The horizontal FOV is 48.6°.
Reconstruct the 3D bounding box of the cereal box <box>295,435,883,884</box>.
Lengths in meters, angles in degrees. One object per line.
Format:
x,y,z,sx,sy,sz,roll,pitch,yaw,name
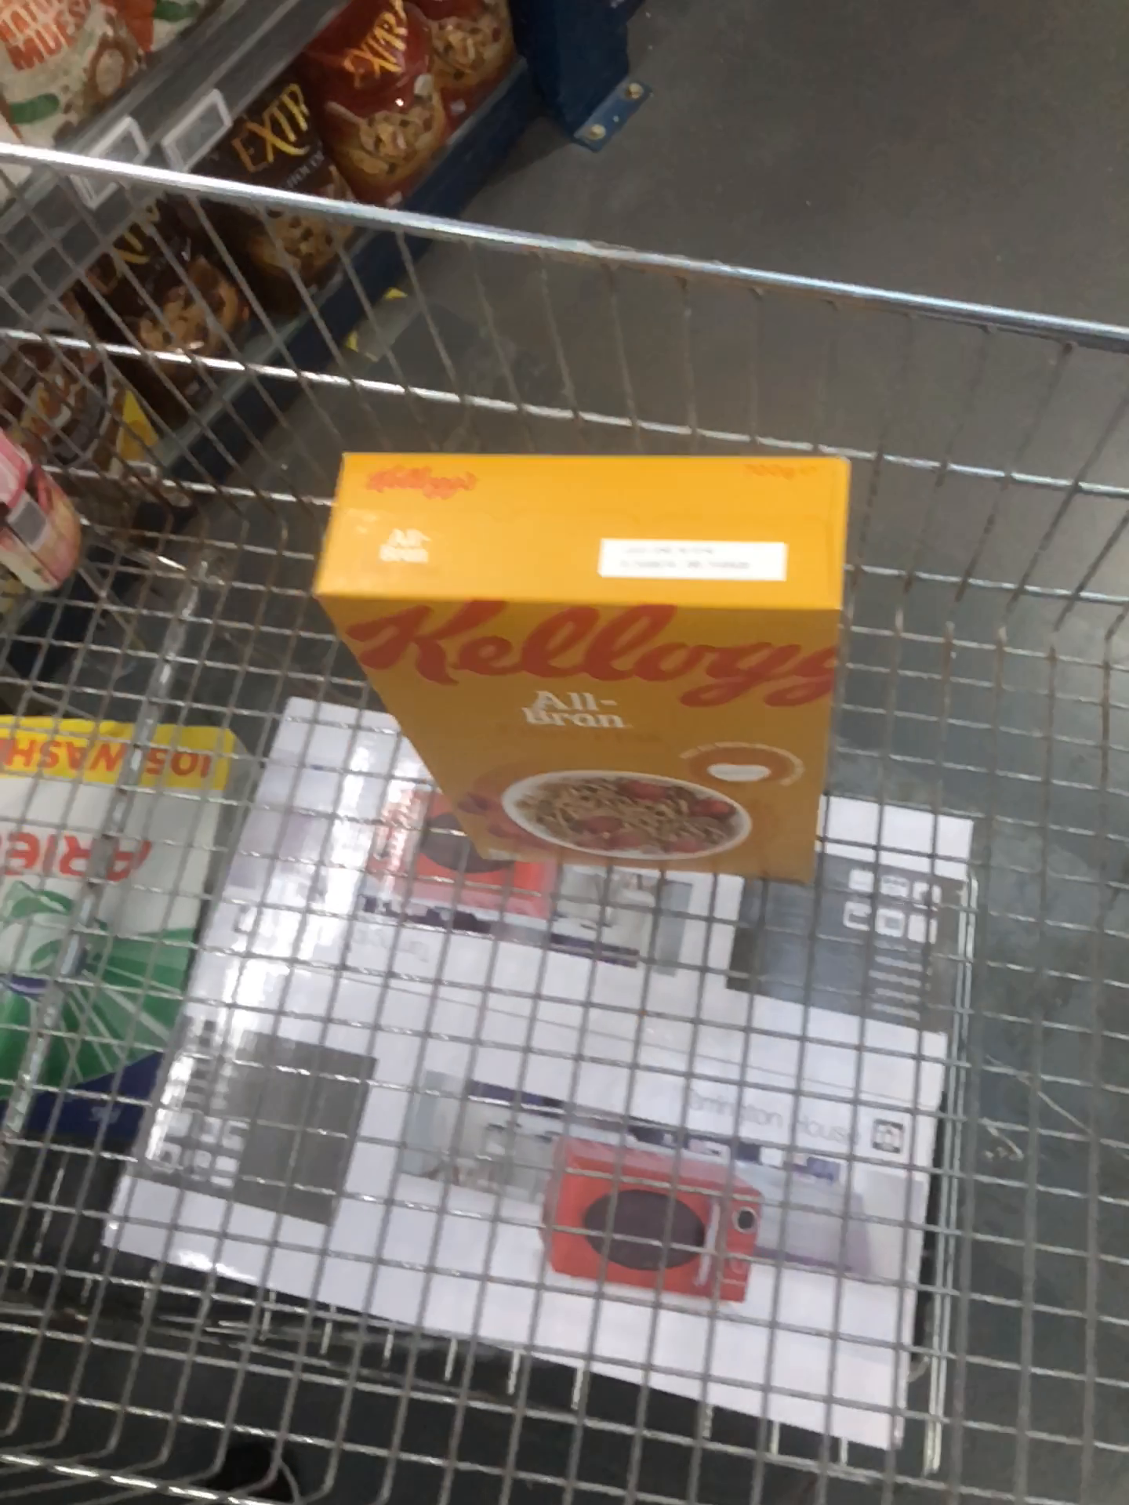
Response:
0.031,-0.025,0.566,0.200,0.289,0.070,3,68,12,cereal box
